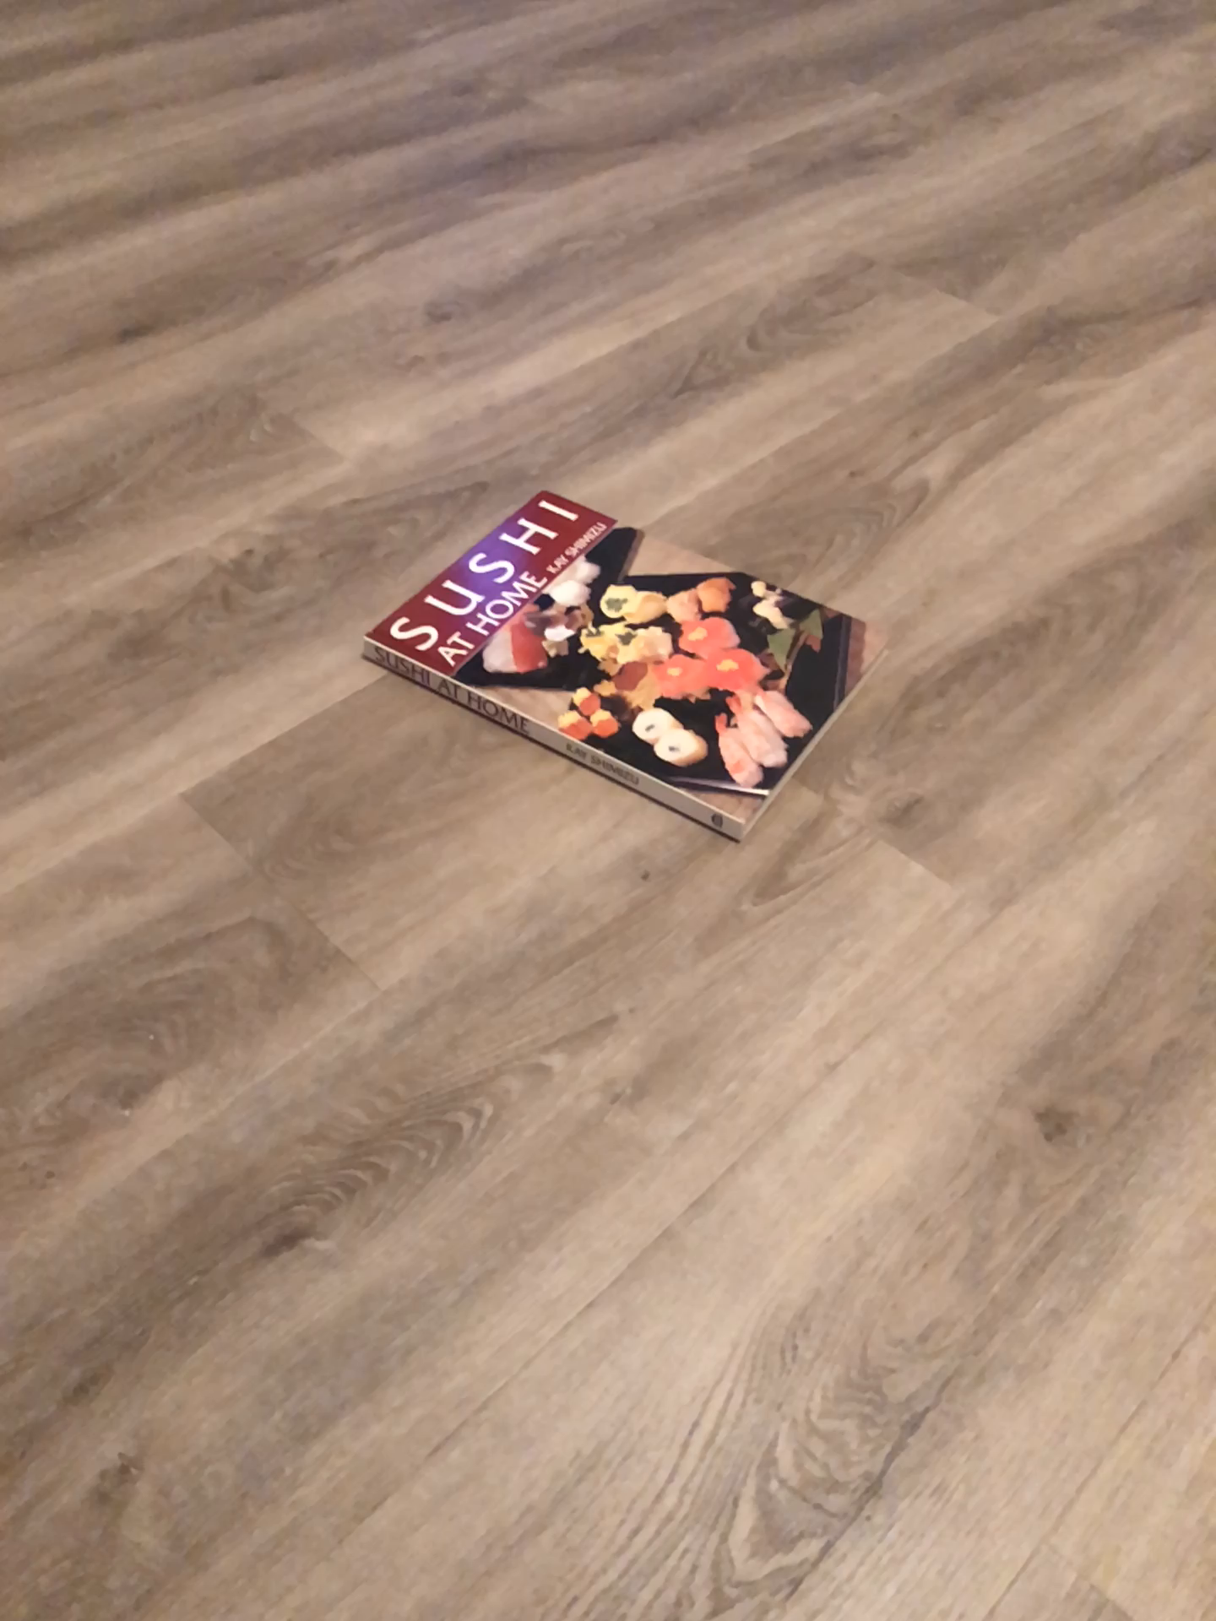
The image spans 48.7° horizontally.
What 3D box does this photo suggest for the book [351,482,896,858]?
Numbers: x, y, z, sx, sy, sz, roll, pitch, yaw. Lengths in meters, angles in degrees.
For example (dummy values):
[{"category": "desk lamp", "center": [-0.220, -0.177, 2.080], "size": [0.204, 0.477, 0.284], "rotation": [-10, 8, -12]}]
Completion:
[{"category": "book", "center": [0.011, -0.096, 0.800], "size": [0.258, 0.030, 0.191], "rotation": [26, 52, 21]}]
